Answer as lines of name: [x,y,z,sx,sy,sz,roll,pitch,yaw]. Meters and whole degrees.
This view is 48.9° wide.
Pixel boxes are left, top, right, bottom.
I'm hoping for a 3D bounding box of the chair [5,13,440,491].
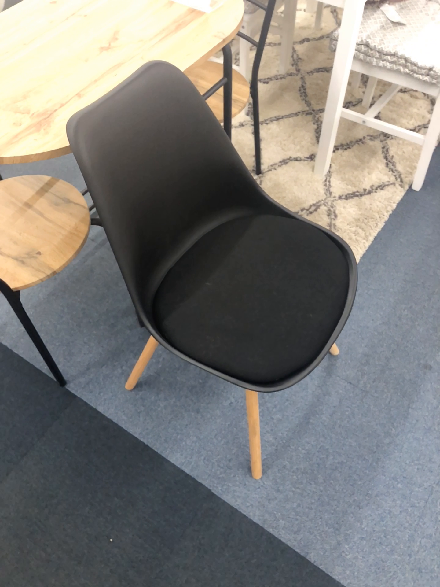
chair: [0.034,-0.018,1.095,0.500,0.858,0.491,29,61,20]
